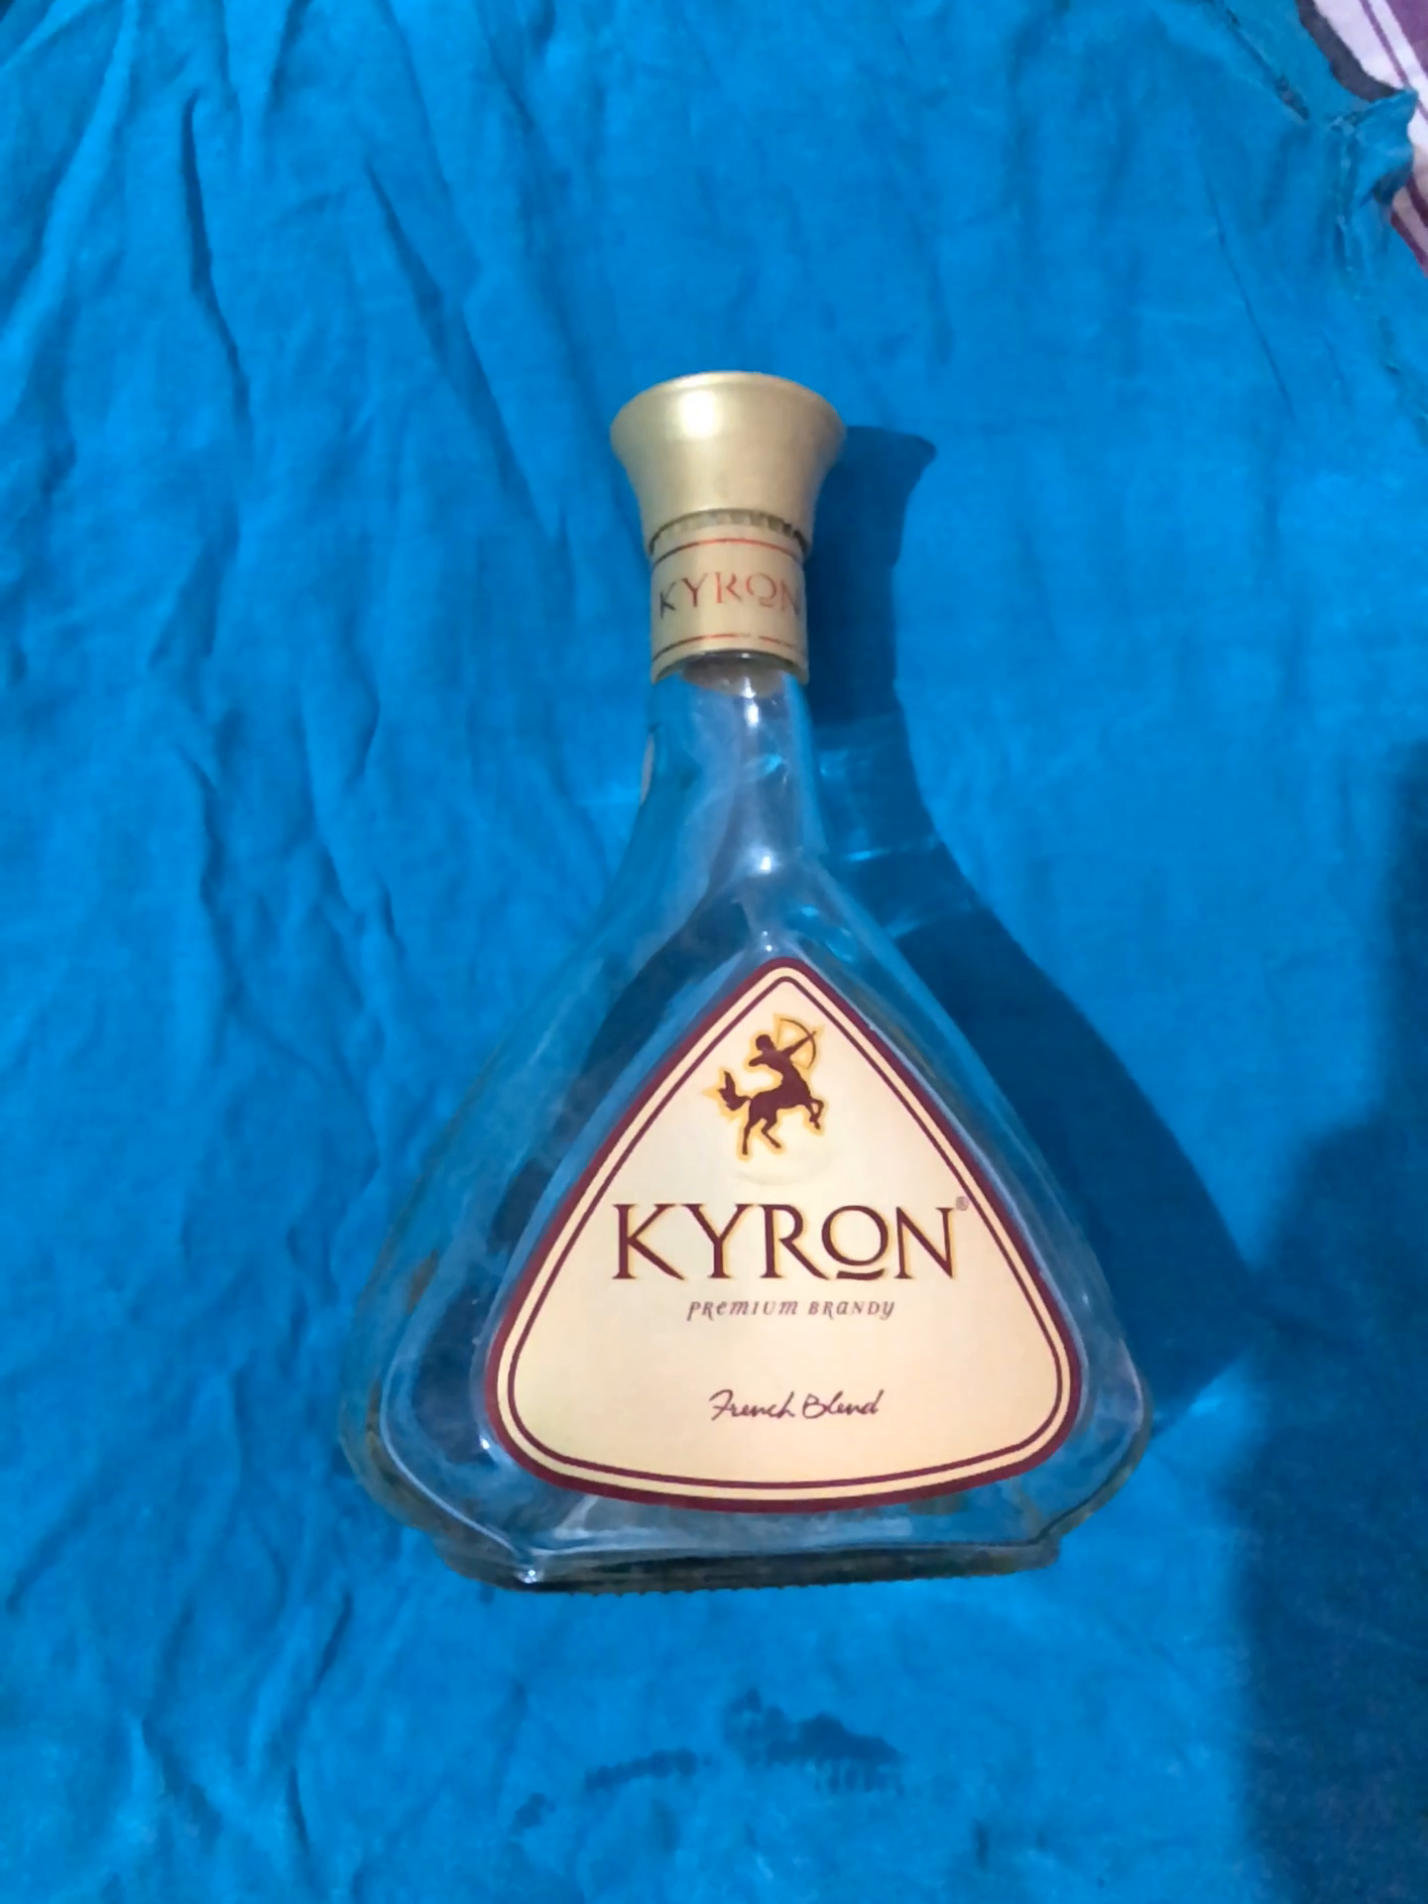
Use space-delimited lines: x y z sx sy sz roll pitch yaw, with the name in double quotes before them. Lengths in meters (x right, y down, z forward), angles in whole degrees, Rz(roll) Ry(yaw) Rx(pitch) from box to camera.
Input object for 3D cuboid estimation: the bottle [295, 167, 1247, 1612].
"bottle" 0.006 -0.012 0.307 0.150 0.080 0.240 1 80 -8
